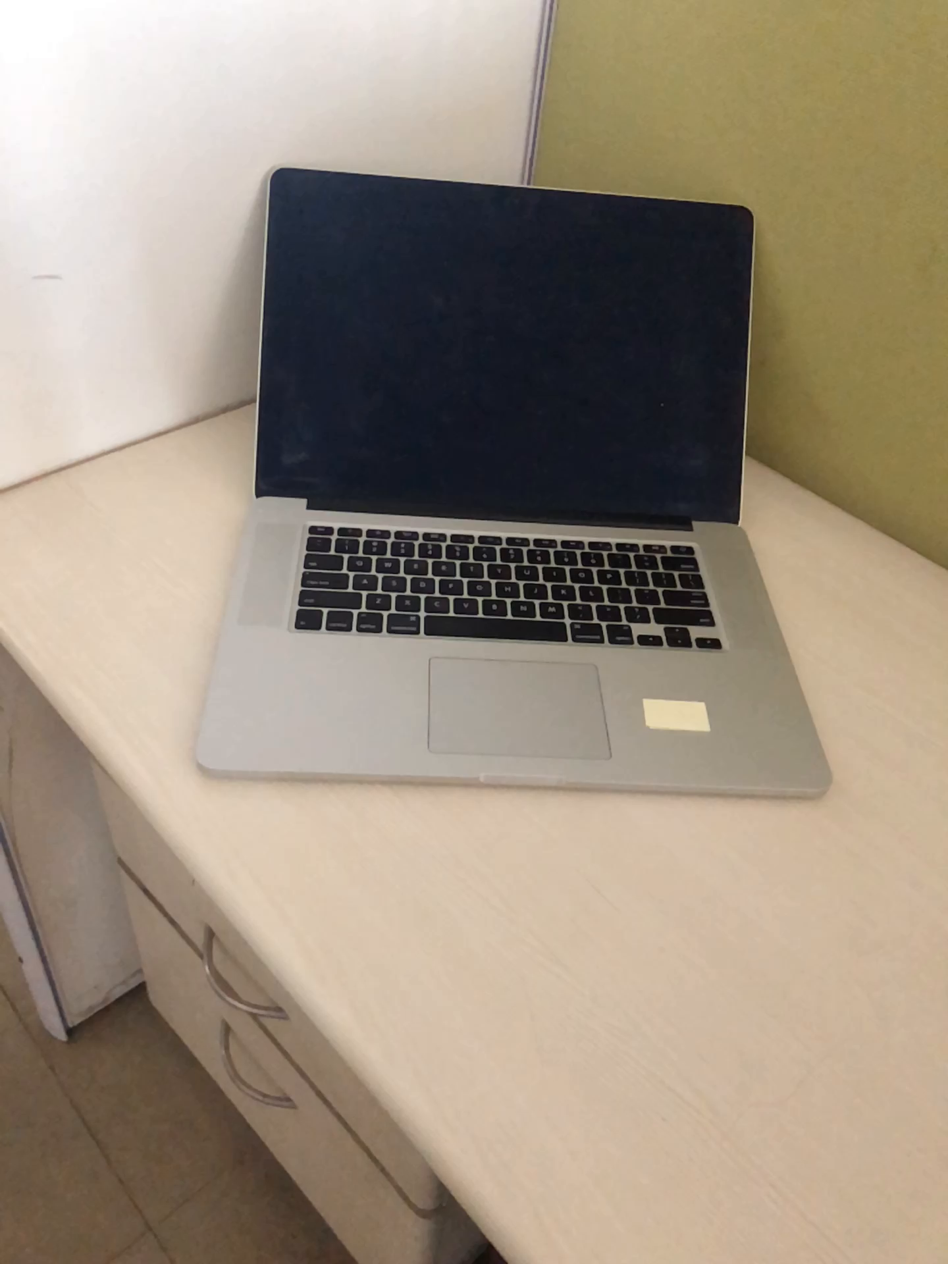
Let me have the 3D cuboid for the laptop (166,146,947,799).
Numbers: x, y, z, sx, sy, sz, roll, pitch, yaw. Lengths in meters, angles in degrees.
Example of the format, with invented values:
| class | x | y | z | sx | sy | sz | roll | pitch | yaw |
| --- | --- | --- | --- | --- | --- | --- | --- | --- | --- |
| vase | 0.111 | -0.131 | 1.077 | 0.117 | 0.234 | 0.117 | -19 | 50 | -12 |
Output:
| class | x | y | z | sx | sy | sz | roll | pitch | yaw |
| --- | --- | --- | --- | --- | --- | --- | --- | --- | --- |
| laptop | 0.028 | -0.122 | 0.645 | 0.345 | 0.163 | 0.405 | 3 | 44 | -5 |
